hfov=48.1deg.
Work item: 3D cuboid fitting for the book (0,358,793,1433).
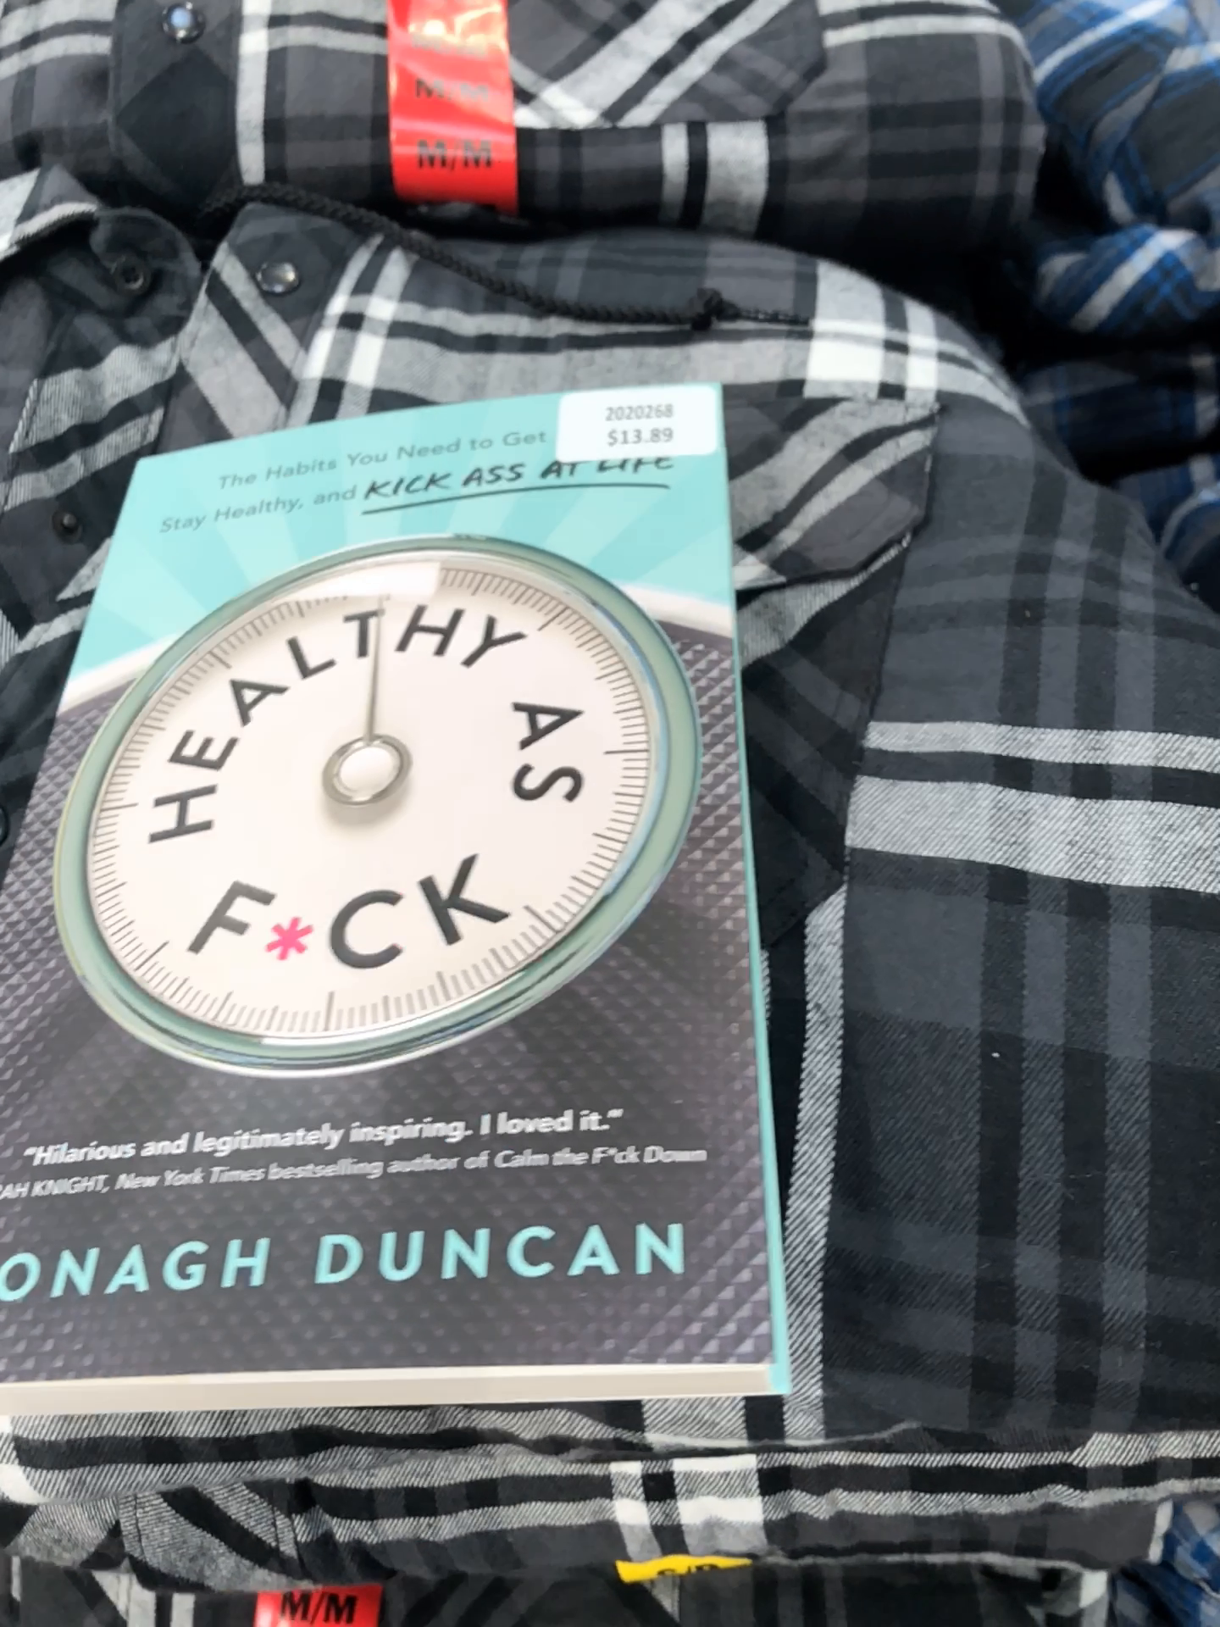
[{"bbox_3d":[-0.049,-0.003,0.285,0.156,0.028,0.238,-4,53,6],"label":"book"}]
